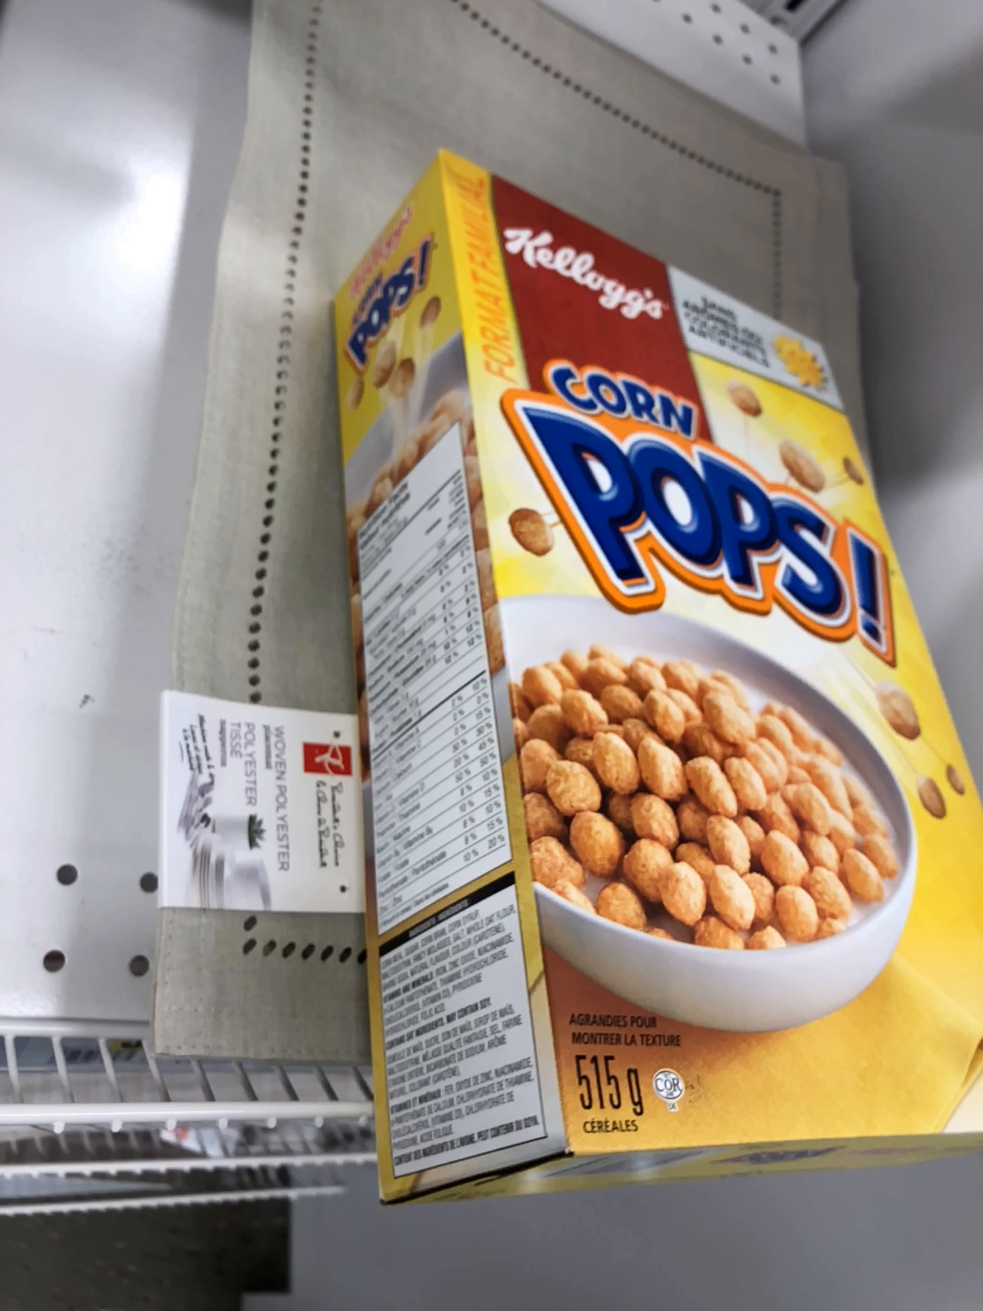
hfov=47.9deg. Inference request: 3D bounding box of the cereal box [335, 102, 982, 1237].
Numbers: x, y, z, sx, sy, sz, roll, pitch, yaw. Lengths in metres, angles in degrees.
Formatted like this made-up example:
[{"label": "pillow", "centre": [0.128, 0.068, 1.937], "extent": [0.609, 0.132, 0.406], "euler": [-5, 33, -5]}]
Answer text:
[{"label": "cereal box", "centre": [0.067, 0.000, 0.388], "extent": [0.221, 0.080, 0.340], "euler": [16, 54, -35]}]
